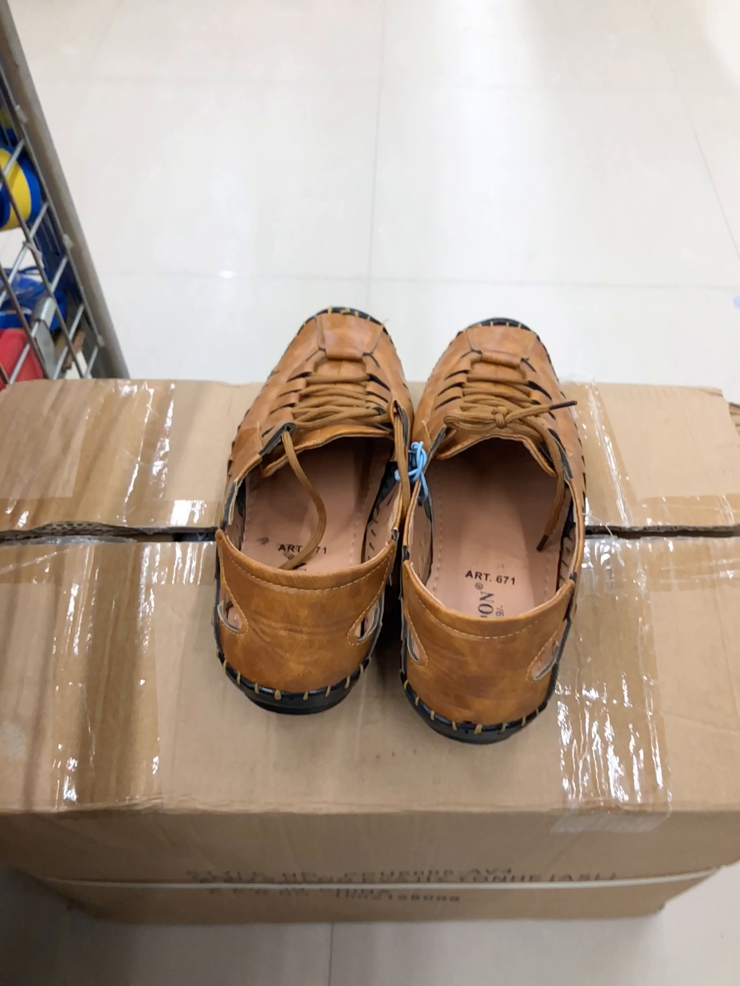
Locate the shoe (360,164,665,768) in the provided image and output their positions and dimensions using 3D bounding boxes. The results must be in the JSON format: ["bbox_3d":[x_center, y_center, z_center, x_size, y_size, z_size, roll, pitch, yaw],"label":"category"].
[{"bbox_3d":[0.070,-0.031,0.434,0.110,0.119,0.302,6,54,5],"label":"shoe"}]

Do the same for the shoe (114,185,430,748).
[{"bbox_3d":[-0.032,-0.028,0.450,0.110,0.119,0.292,4,54,3],"label":"shoe"}]
